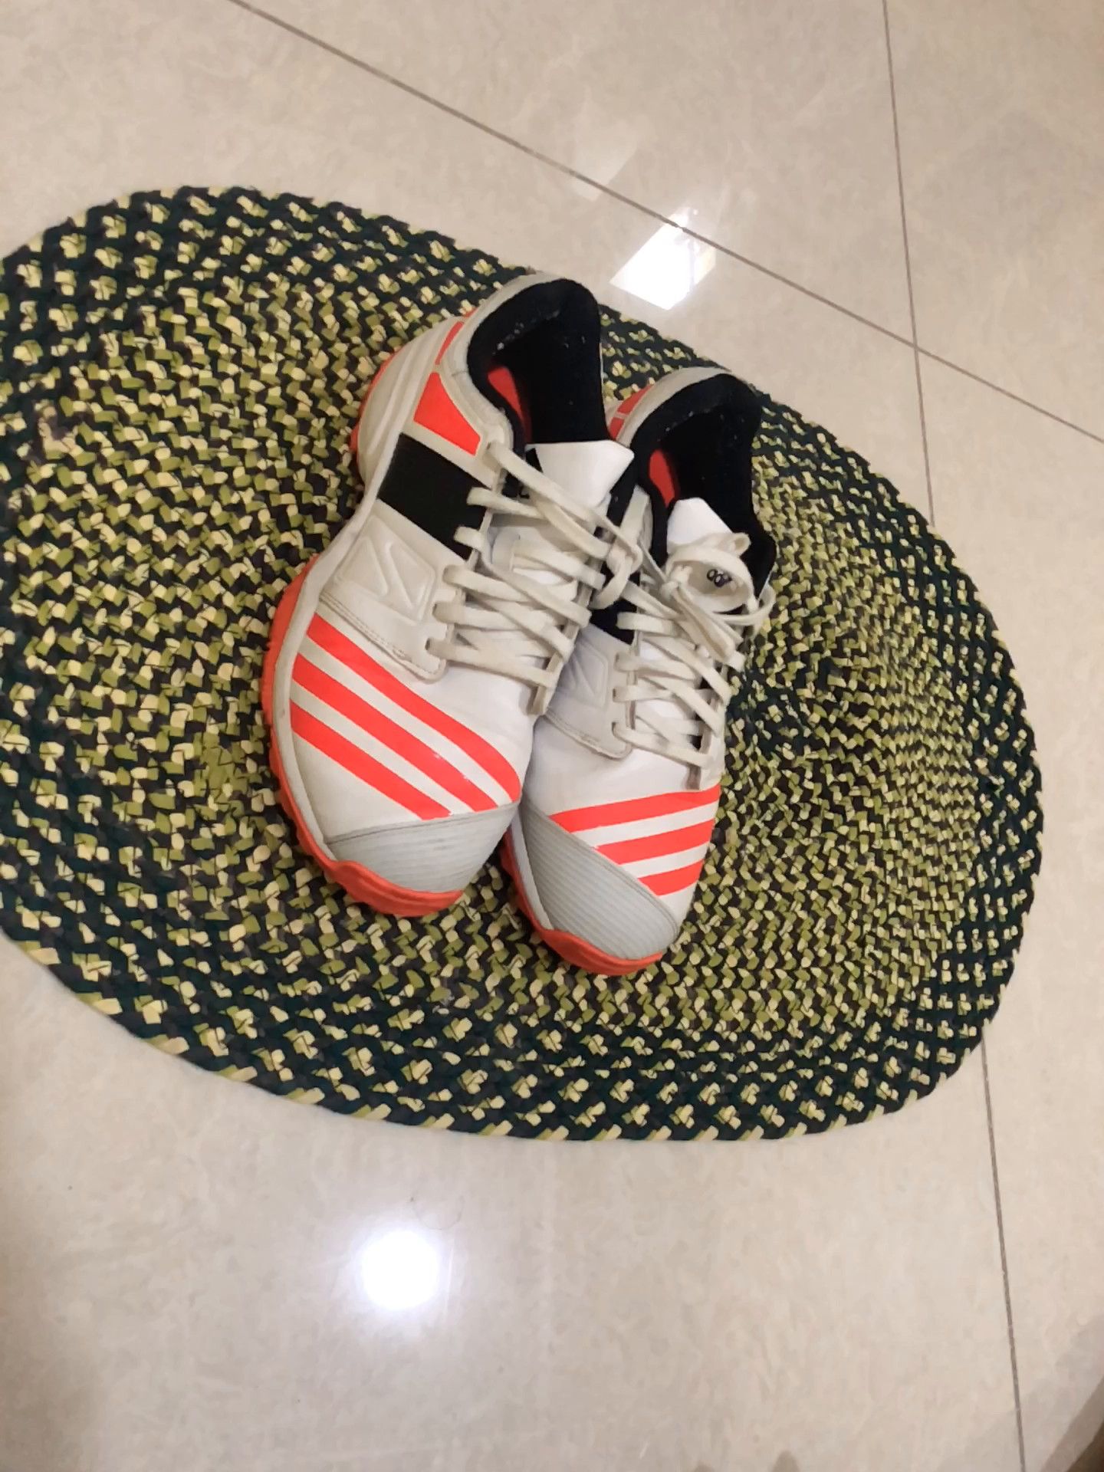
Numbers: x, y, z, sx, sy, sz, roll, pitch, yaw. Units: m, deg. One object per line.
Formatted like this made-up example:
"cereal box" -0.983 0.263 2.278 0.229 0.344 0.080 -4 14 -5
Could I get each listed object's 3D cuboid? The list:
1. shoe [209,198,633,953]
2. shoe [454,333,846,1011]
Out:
"shoe" -0.046 -0.062 0.489 0.100 0.090 0.270 19 64 -27
"shoe" 0.047 -0.023 0.522 0.110 0.100 0.250 19 64 -27
